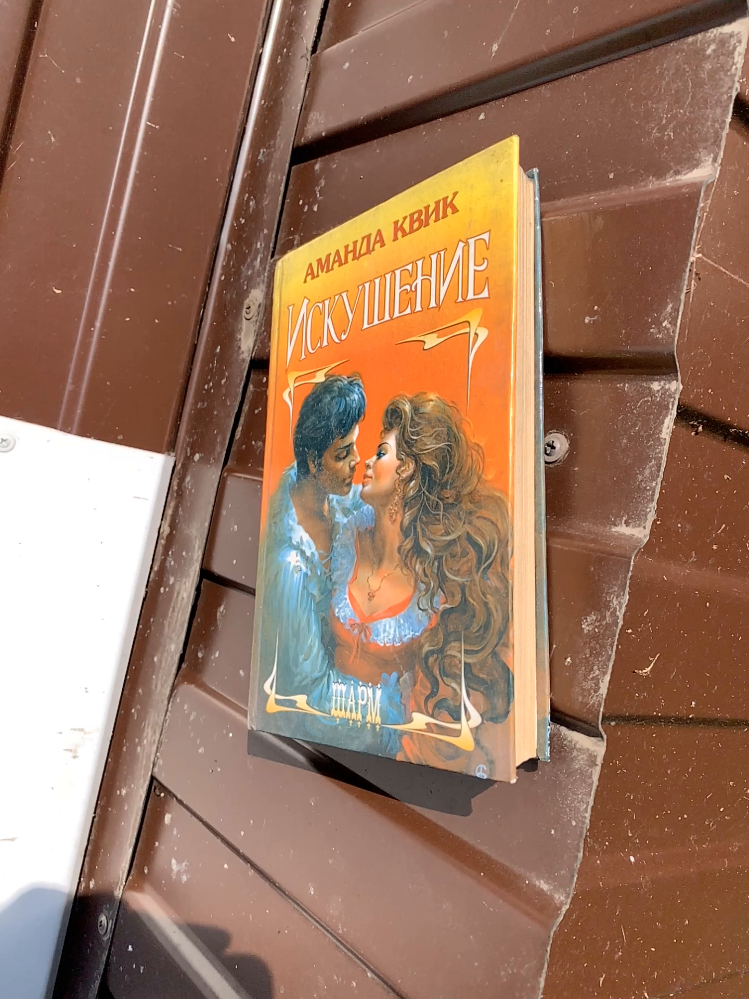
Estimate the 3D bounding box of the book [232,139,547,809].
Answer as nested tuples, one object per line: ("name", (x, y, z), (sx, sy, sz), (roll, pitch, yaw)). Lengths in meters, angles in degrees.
("book", (-0.001, -0.007, 0.285), (0.135, 0.024, 0.200), (-7, 79, 47))
